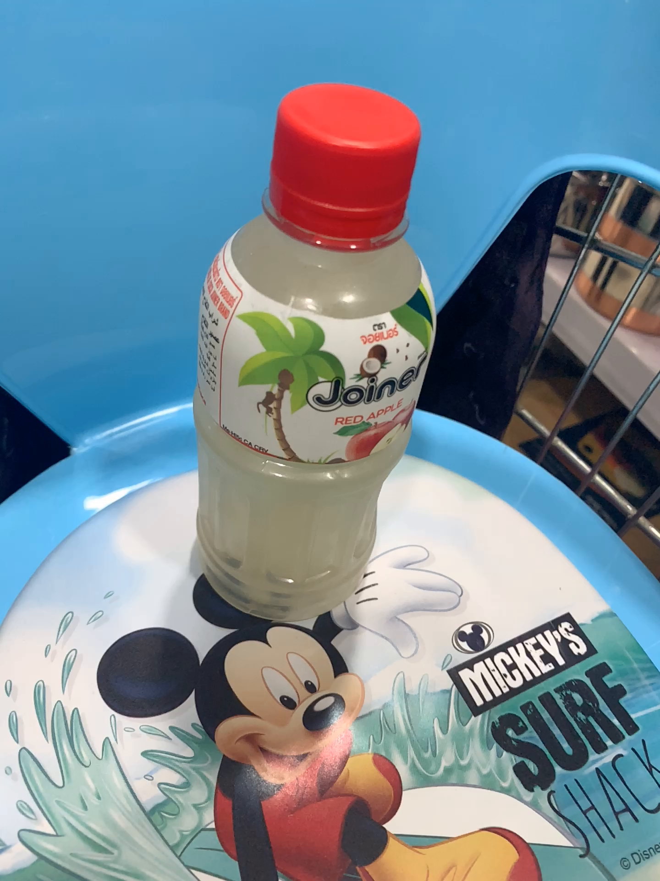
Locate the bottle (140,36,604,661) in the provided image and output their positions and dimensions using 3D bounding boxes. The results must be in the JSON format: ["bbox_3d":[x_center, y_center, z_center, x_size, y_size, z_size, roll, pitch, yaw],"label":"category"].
[{"bbox_3d":[-0.001,-0.014,0.185,0.070,0.149,0.060,-14,49,-20],"label":"bottle"}]
